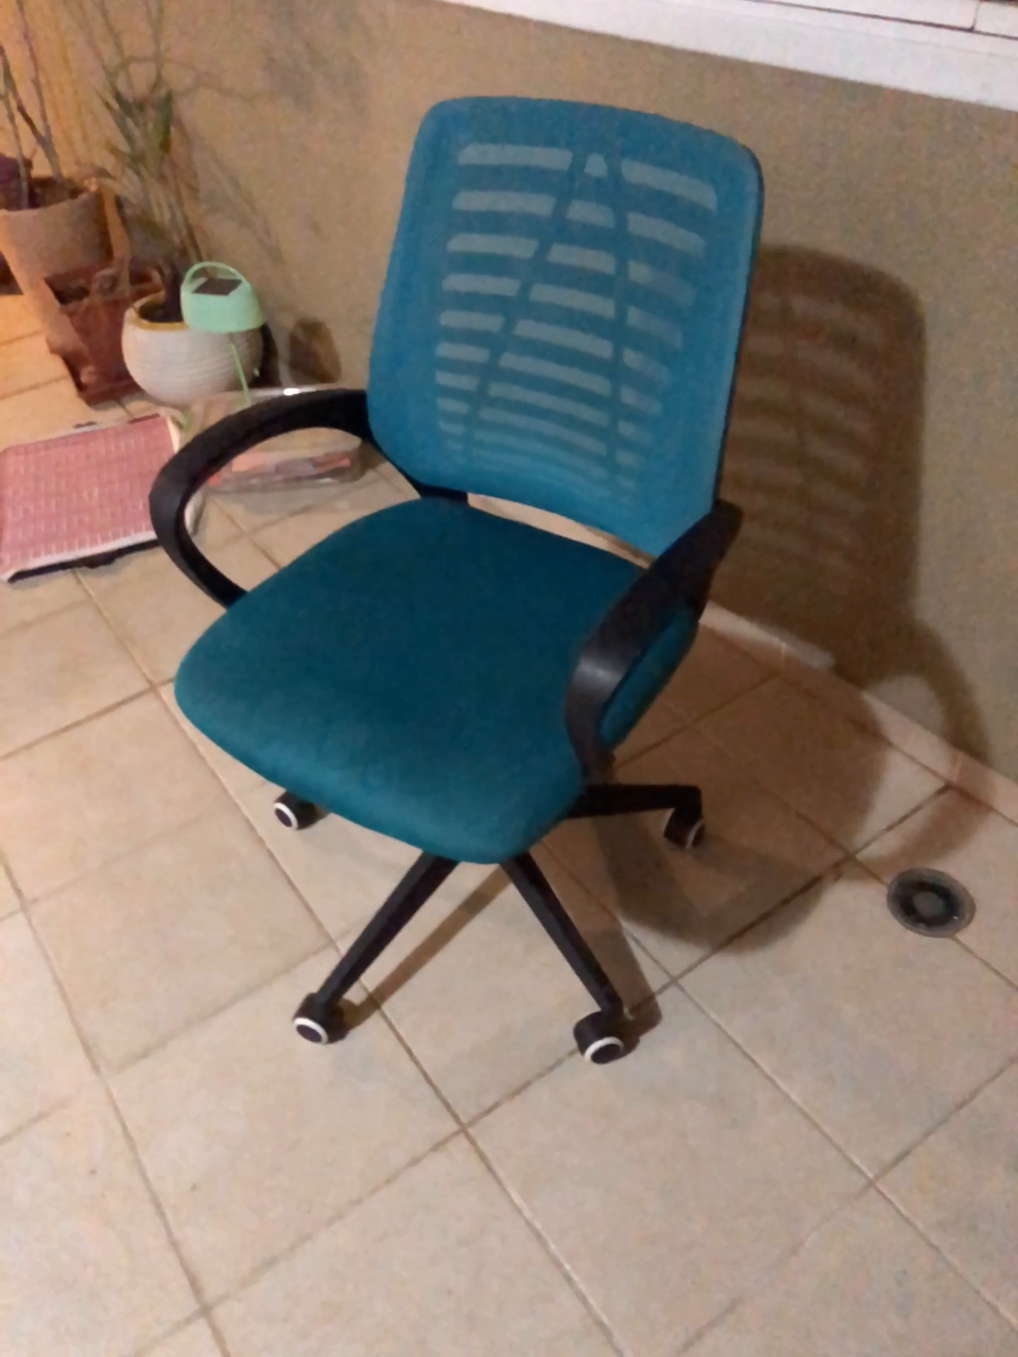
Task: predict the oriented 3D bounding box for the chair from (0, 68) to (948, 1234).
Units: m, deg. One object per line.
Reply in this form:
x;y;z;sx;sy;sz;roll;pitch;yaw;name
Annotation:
-0.059;-0.075;1.299;0.712;0.922;0.743;23;49;29;chair
